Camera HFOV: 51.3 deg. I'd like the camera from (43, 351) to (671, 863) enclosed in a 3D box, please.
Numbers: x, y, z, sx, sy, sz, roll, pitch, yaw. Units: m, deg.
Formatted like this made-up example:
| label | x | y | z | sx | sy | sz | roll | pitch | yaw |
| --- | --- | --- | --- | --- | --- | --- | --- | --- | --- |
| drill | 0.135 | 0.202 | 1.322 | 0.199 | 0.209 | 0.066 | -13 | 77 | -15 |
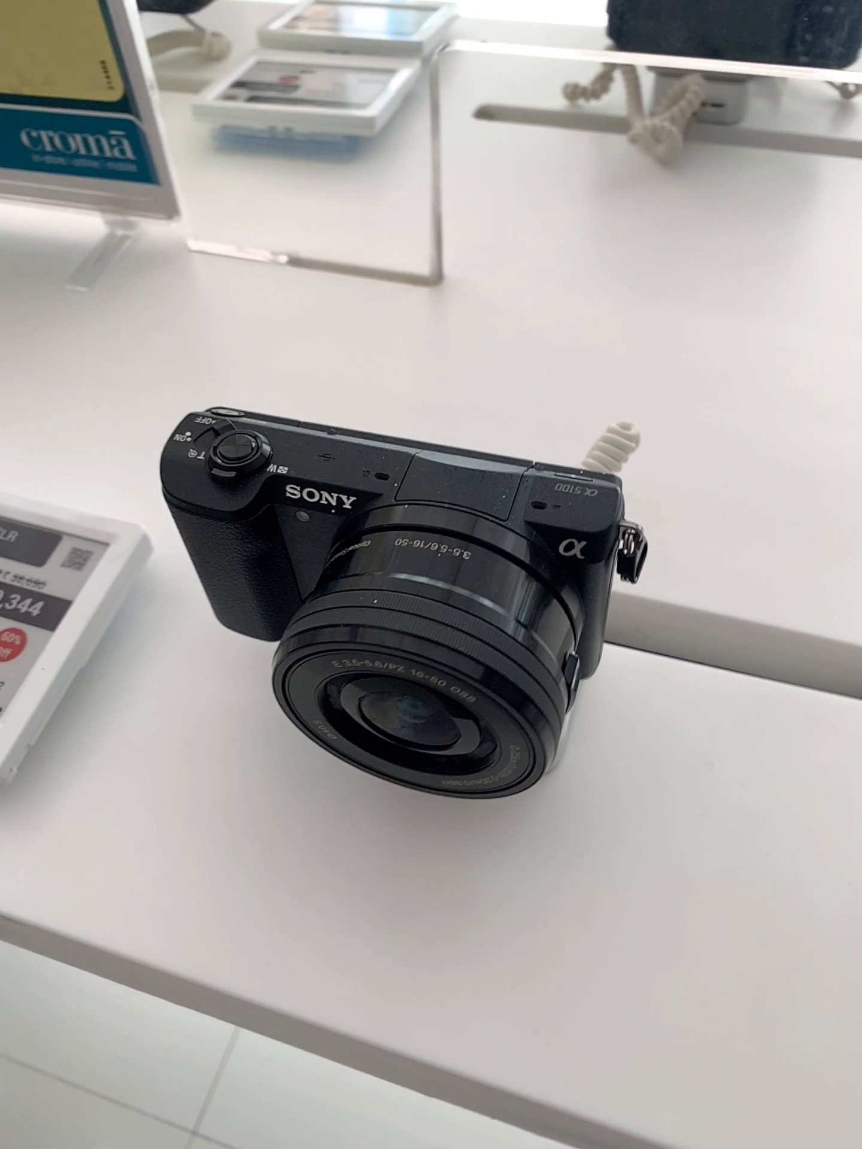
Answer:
| label | x | y | z | sx | sy | sz | roll | pitch | yaw |
| --- | --- | --- | --- | --- | --- | --- | --- | --- | --- |
| camera | -0.011 | 0.008 | 0.208 | 0.110 | 0.080 | 0.060 | 13 | 53 | 13 |
